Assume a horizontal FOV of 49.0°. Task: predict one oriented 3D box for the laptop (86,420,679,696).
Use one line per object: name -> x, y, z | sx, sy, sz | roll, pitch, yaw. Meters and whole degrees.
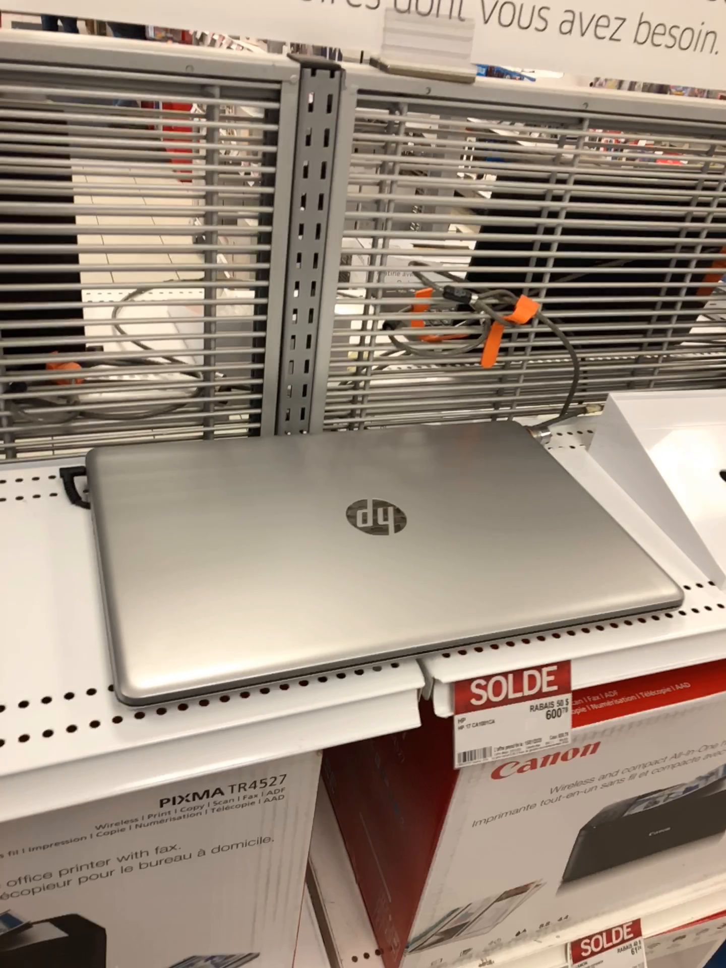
laptop -> 0.003, 0.030, 0.650 | 0.416, 0.002, 0.278 | -6, 35, -20
